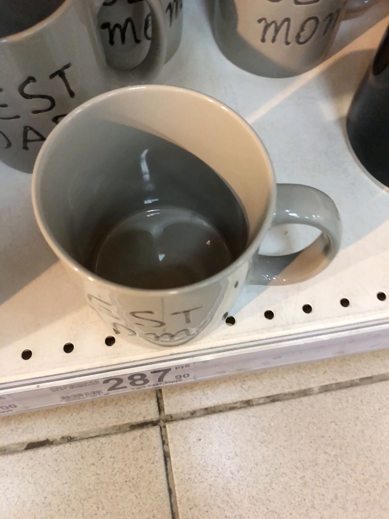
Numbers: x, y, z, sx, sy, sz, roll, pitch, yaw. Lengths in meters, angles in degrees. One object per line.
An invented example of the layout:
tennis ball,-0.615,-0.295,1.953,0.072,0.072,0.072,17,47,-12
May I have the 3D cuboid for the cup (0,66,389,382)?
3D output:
cup,0.006,-0.007,0.222,0.142,0.121,0.101,7,66,4
